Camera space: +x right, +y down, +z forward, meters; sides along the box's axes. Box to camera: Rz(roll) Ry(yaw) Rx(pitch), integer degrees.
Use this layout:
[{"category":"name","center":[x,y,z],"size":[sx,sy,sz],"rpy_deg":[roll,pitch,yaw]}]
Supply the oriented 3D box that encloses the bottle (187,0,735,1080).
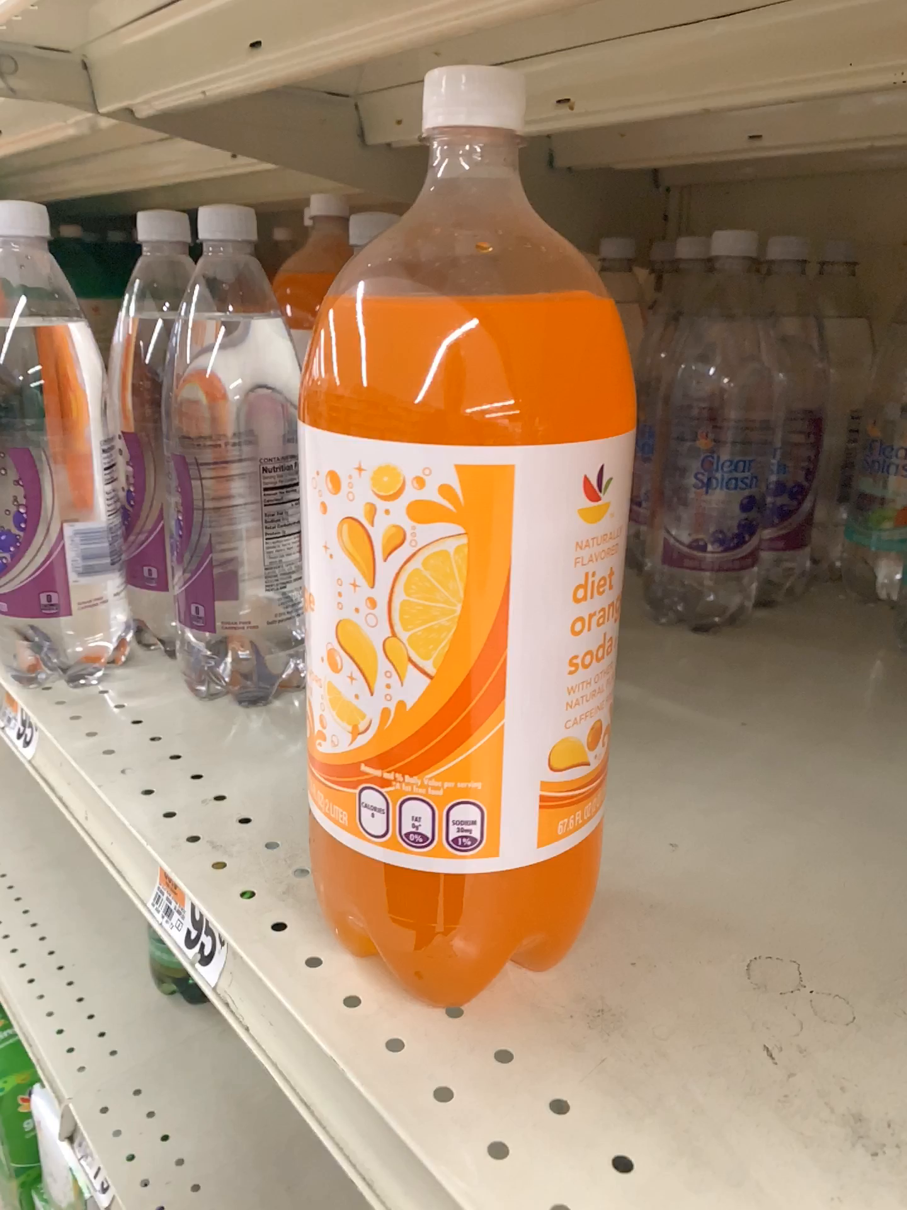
[{"category":"bottle","center":[-0.005,-0.018,0.314],"size":[0.110,0.289,0.120],"rpy_deg":[0,19,0]}]
